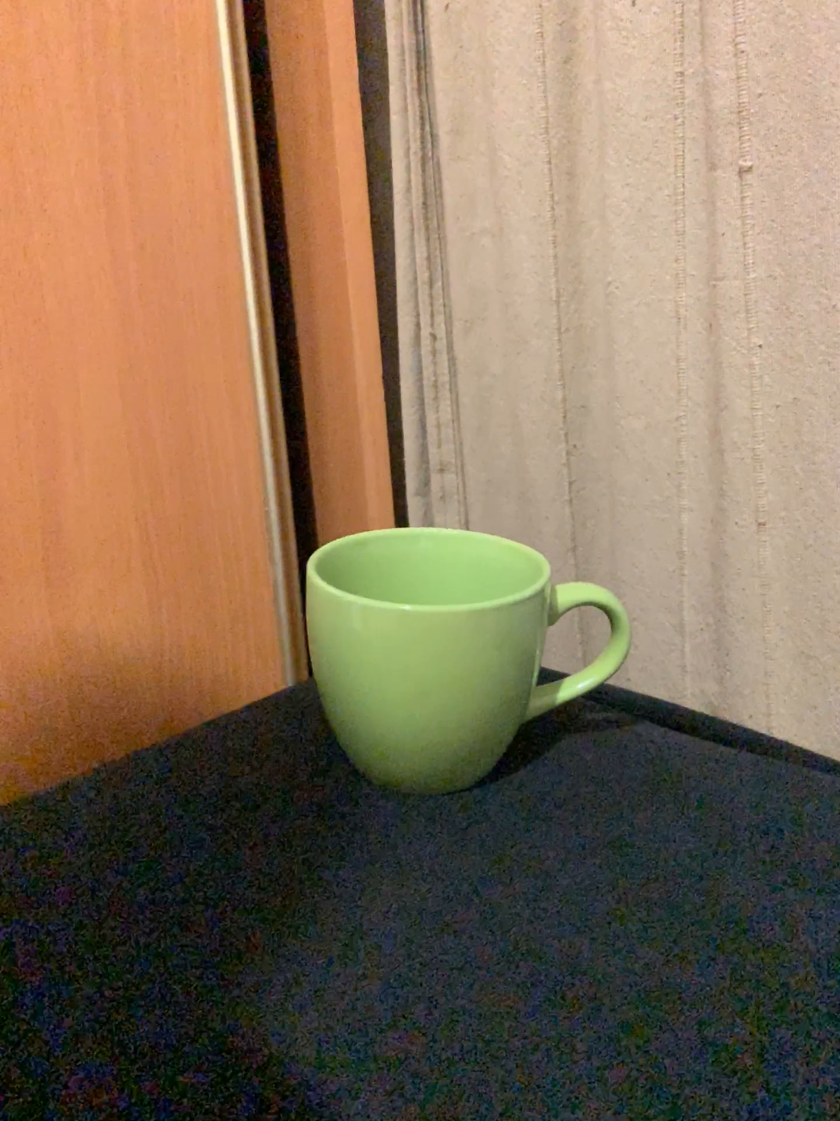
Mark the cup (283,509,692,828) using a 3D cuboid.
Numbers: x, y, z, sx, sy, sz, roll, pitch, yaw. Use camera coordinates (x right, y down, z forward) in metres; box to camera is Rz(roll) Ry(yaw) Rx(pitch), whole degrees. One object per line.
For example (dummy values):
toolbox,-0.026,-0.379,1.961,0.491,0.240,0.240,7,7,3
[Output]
cup,0.017,0.032,0.313,0.124,0.069,0.090,-5,20,-7
